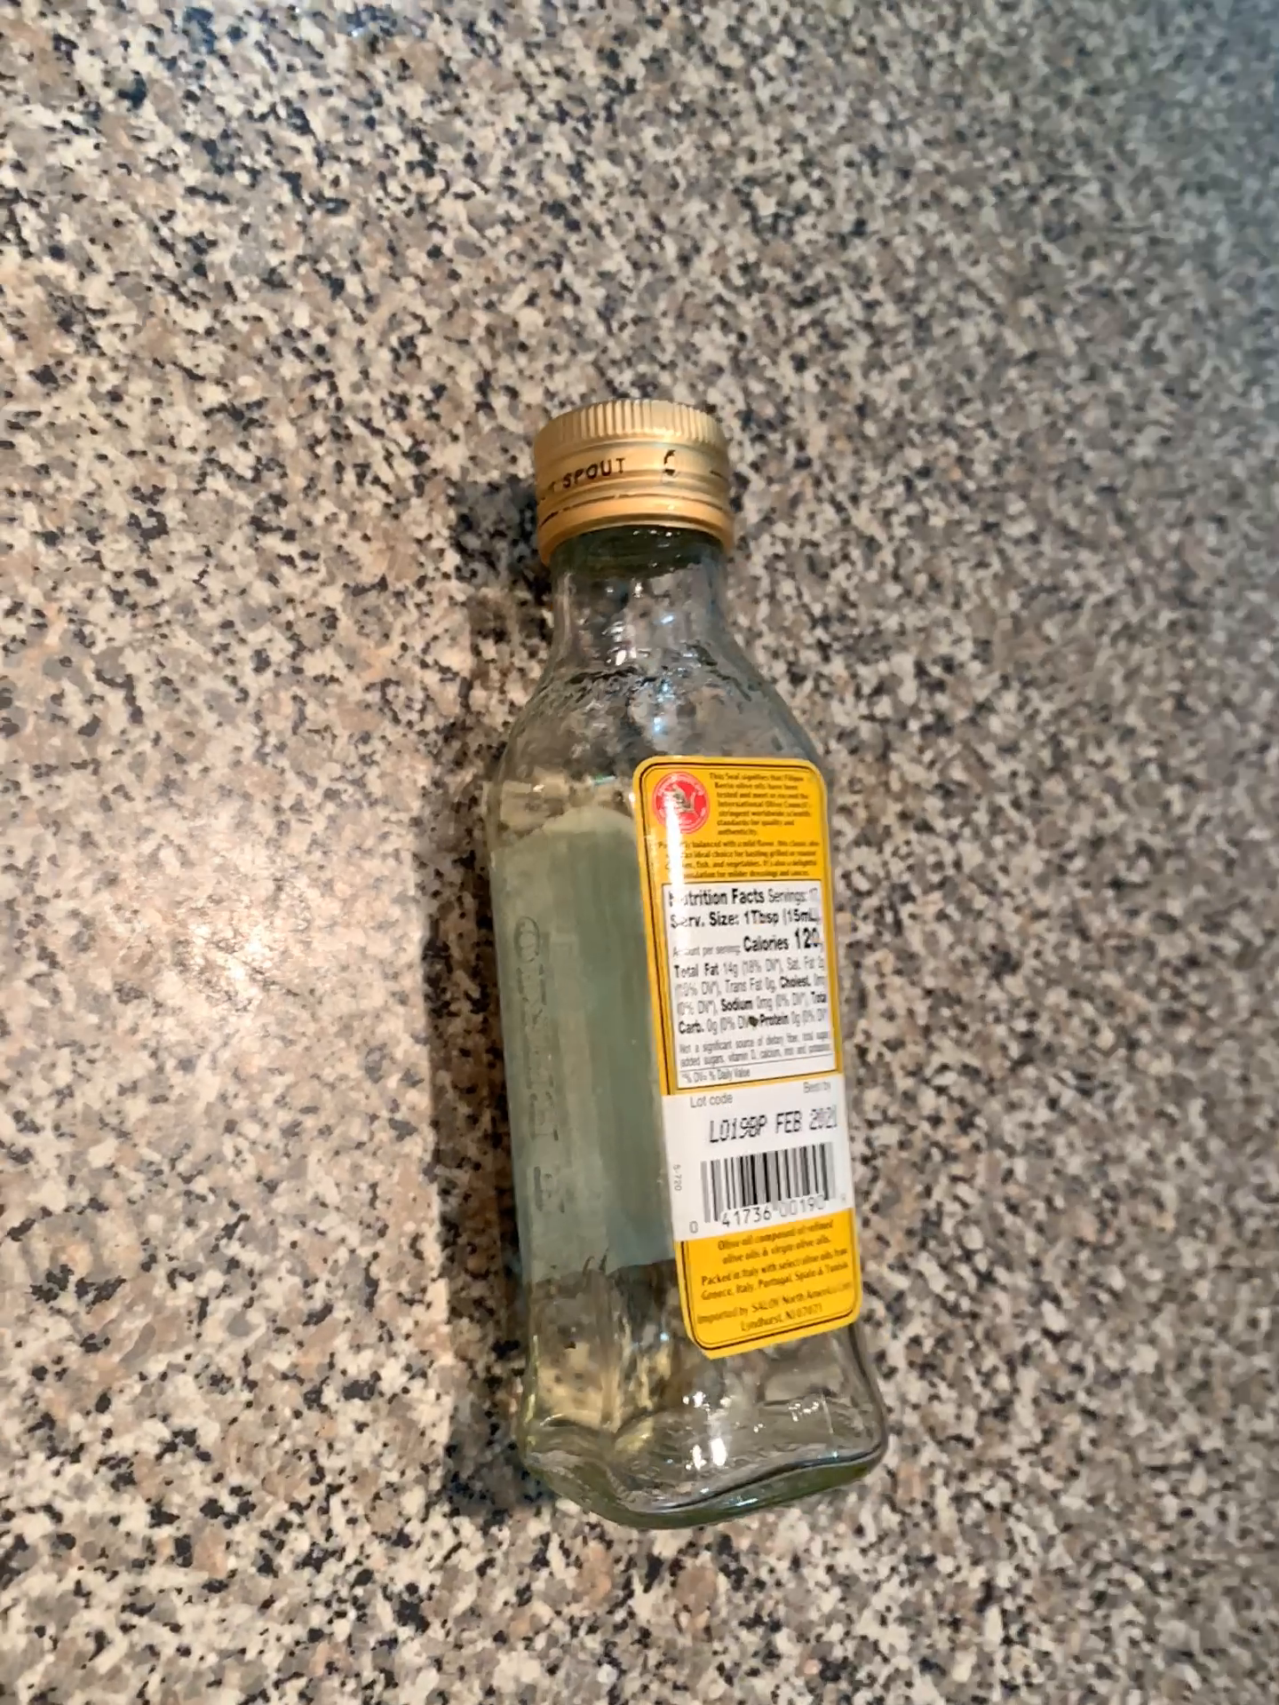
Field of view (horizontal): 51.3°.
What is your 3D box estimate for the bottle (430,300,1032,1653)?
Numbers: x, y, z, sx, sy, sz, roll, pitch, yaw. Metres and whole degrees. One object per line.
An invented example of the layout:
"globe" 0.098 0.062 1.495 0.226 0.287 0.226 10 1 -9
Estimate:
"bottle" 0.010 0.015 0.218 0.060 0.060 0.180 0 81 -31
